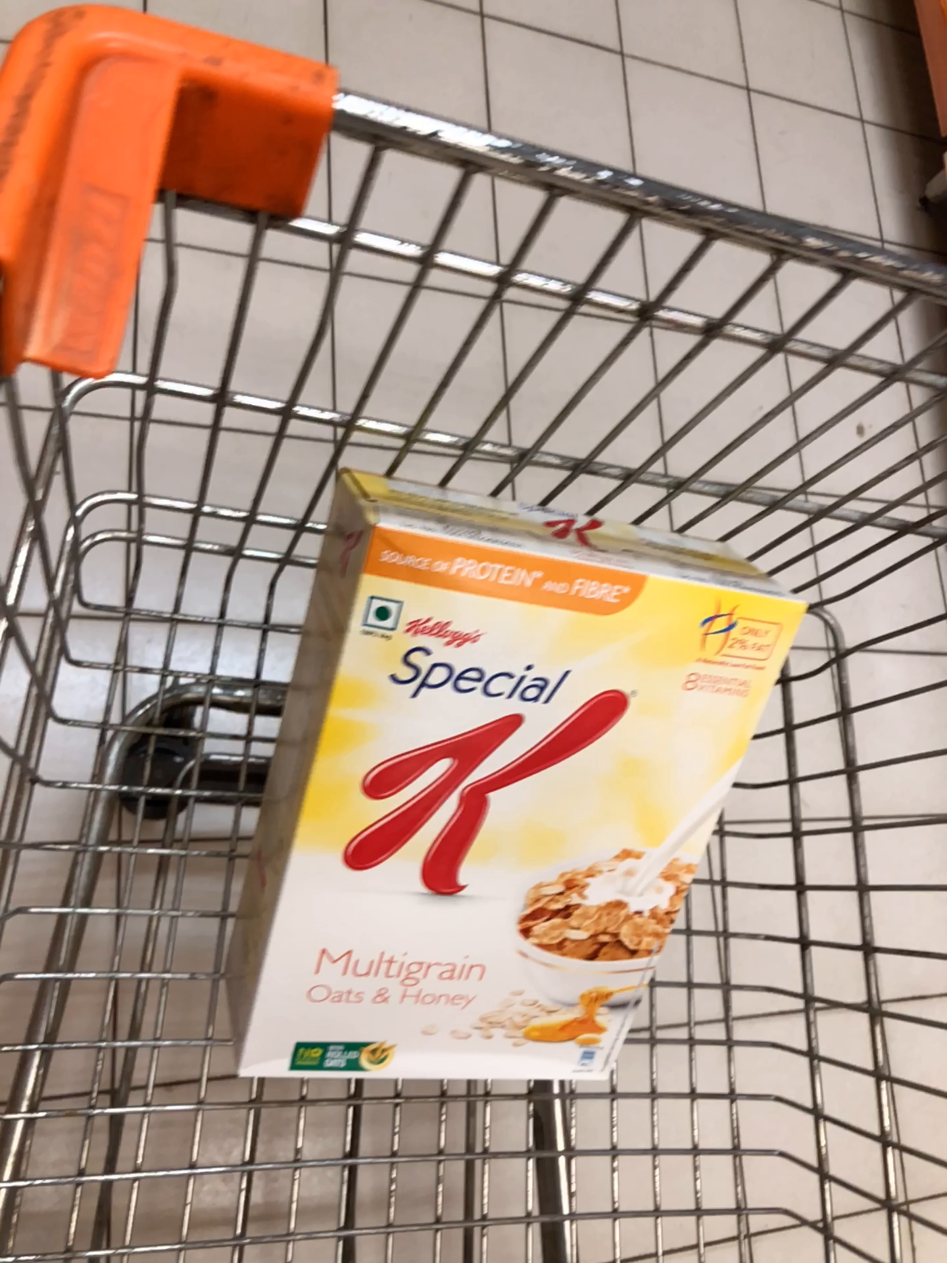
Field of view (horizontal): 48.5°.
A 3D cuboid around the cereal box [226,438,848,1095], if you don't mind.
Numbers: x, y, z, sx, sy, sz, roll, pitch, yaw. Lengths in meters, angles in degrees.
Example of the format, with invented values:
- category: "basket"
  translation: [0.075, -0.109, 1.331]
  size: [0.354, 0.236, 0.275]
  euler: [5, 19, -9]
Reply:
- category: "cereal box"
  translation: [0.012, 0.074, 0.474]
  size: [0.190, 0.090, 0.269]
  euler: [9, 114, -20]
